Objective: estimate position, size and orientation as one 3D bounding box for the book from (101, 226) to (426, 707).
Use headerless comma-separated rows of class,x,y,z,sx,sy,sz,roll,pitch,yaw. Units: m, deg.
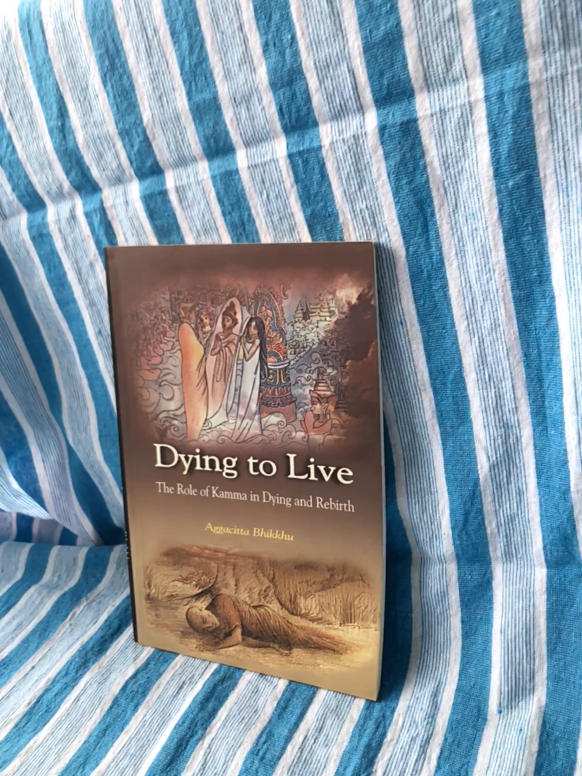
book,-0.019,0.031,0.308,0.150,0.210,0.020,5,9,19
